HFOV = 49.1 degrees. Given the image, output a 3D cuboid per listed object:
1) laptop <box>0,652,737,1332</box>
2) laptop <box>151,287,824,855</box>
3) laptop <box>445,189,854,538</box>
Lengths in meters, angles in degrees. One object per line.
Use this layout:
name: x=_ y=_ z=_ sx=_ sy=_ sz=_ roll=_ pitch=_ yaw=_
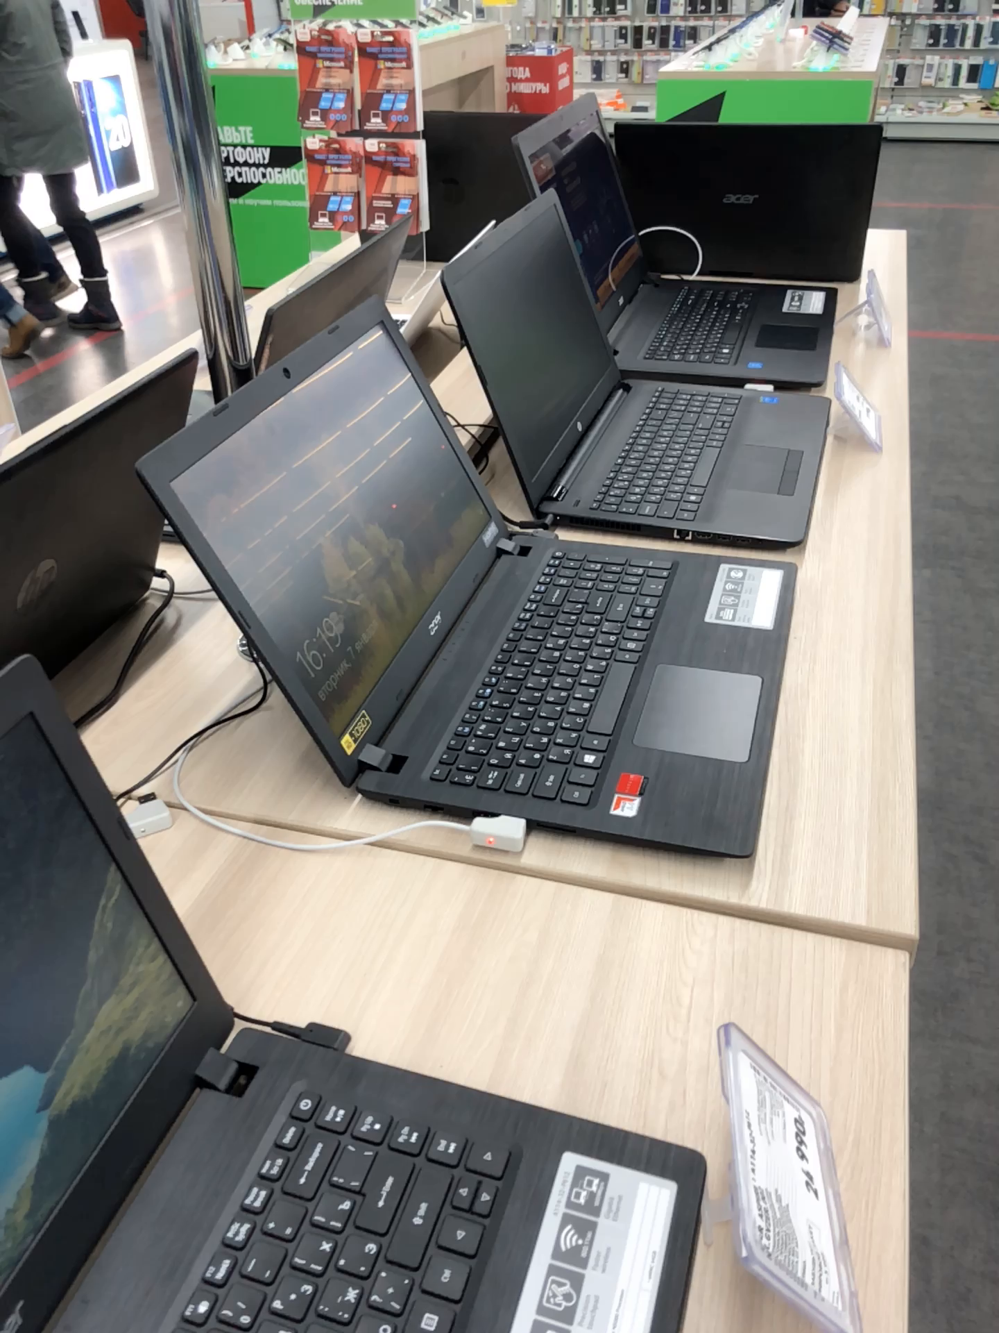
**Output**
laptop: x=-0.103 y=0.190 z=0.350 sx=0.300 sy=0.214 sz=0.307 roll=10 pitch=35 yaw=15
laptop: x=0.026 y=-0.106 z=0.791 sx=0.367 sy=0.208 sz=0.375 roll=8 pitch=35 yaw=15
laptop: x=0.166 y=-0.332 z=1.115 sx=0.338 sy=0.212 sz=0.379 roll=9 pitch=35 yaw=17
